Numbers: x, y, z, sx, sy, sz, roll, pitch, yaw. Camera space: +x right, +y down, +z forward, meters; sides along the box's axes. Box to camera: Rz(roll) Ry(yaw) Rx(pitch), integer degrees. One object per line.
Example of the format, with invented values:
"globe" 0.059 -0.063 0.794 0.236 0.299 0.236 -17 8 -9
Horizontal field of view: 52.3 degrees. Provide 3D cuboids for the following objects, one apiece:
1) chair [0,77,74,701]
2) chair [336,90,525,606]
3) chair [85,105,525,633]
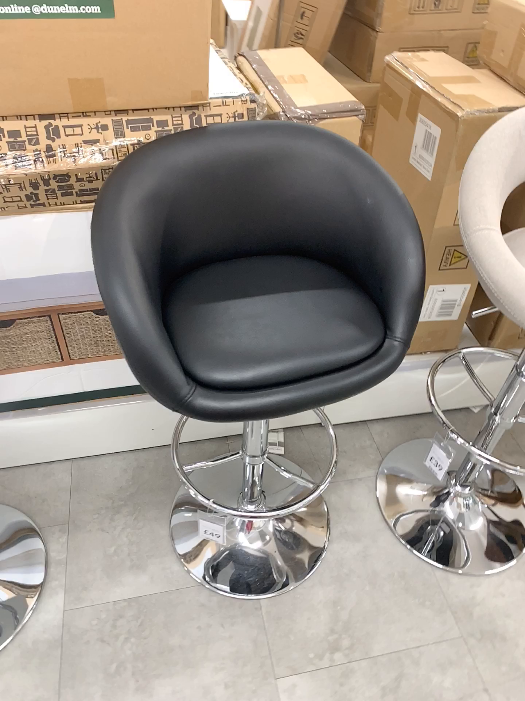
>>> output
"chair" -0.639 0.154 0.852 0.445 0.948 0.444 -12 45 -17
"chair" 0.512 0.042 1.085 0.445 0.918 0.433 -12 45 -17
"chair" -0.005 0.074 1.017 0.474 0.868 0.444 -10 44 -15
